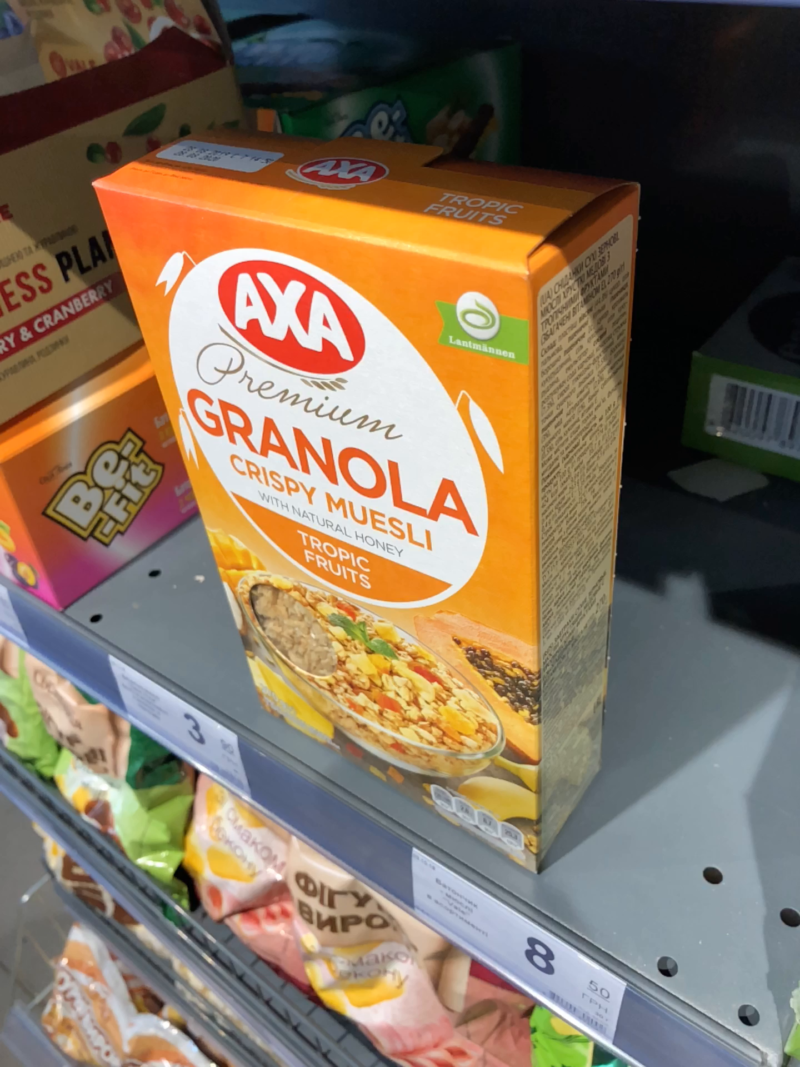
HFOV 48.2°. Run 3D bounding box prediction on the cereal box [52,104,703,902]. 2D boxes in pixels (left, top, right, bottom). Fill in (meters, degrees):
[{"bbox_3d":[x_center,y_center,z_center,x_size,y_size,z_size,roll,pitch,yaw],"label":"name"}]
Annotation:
[{"bbox_3d":[-0.002,-0.001,0.261,0.140,0.208,0.050,22,49,30],"label":"cereal box"}]
